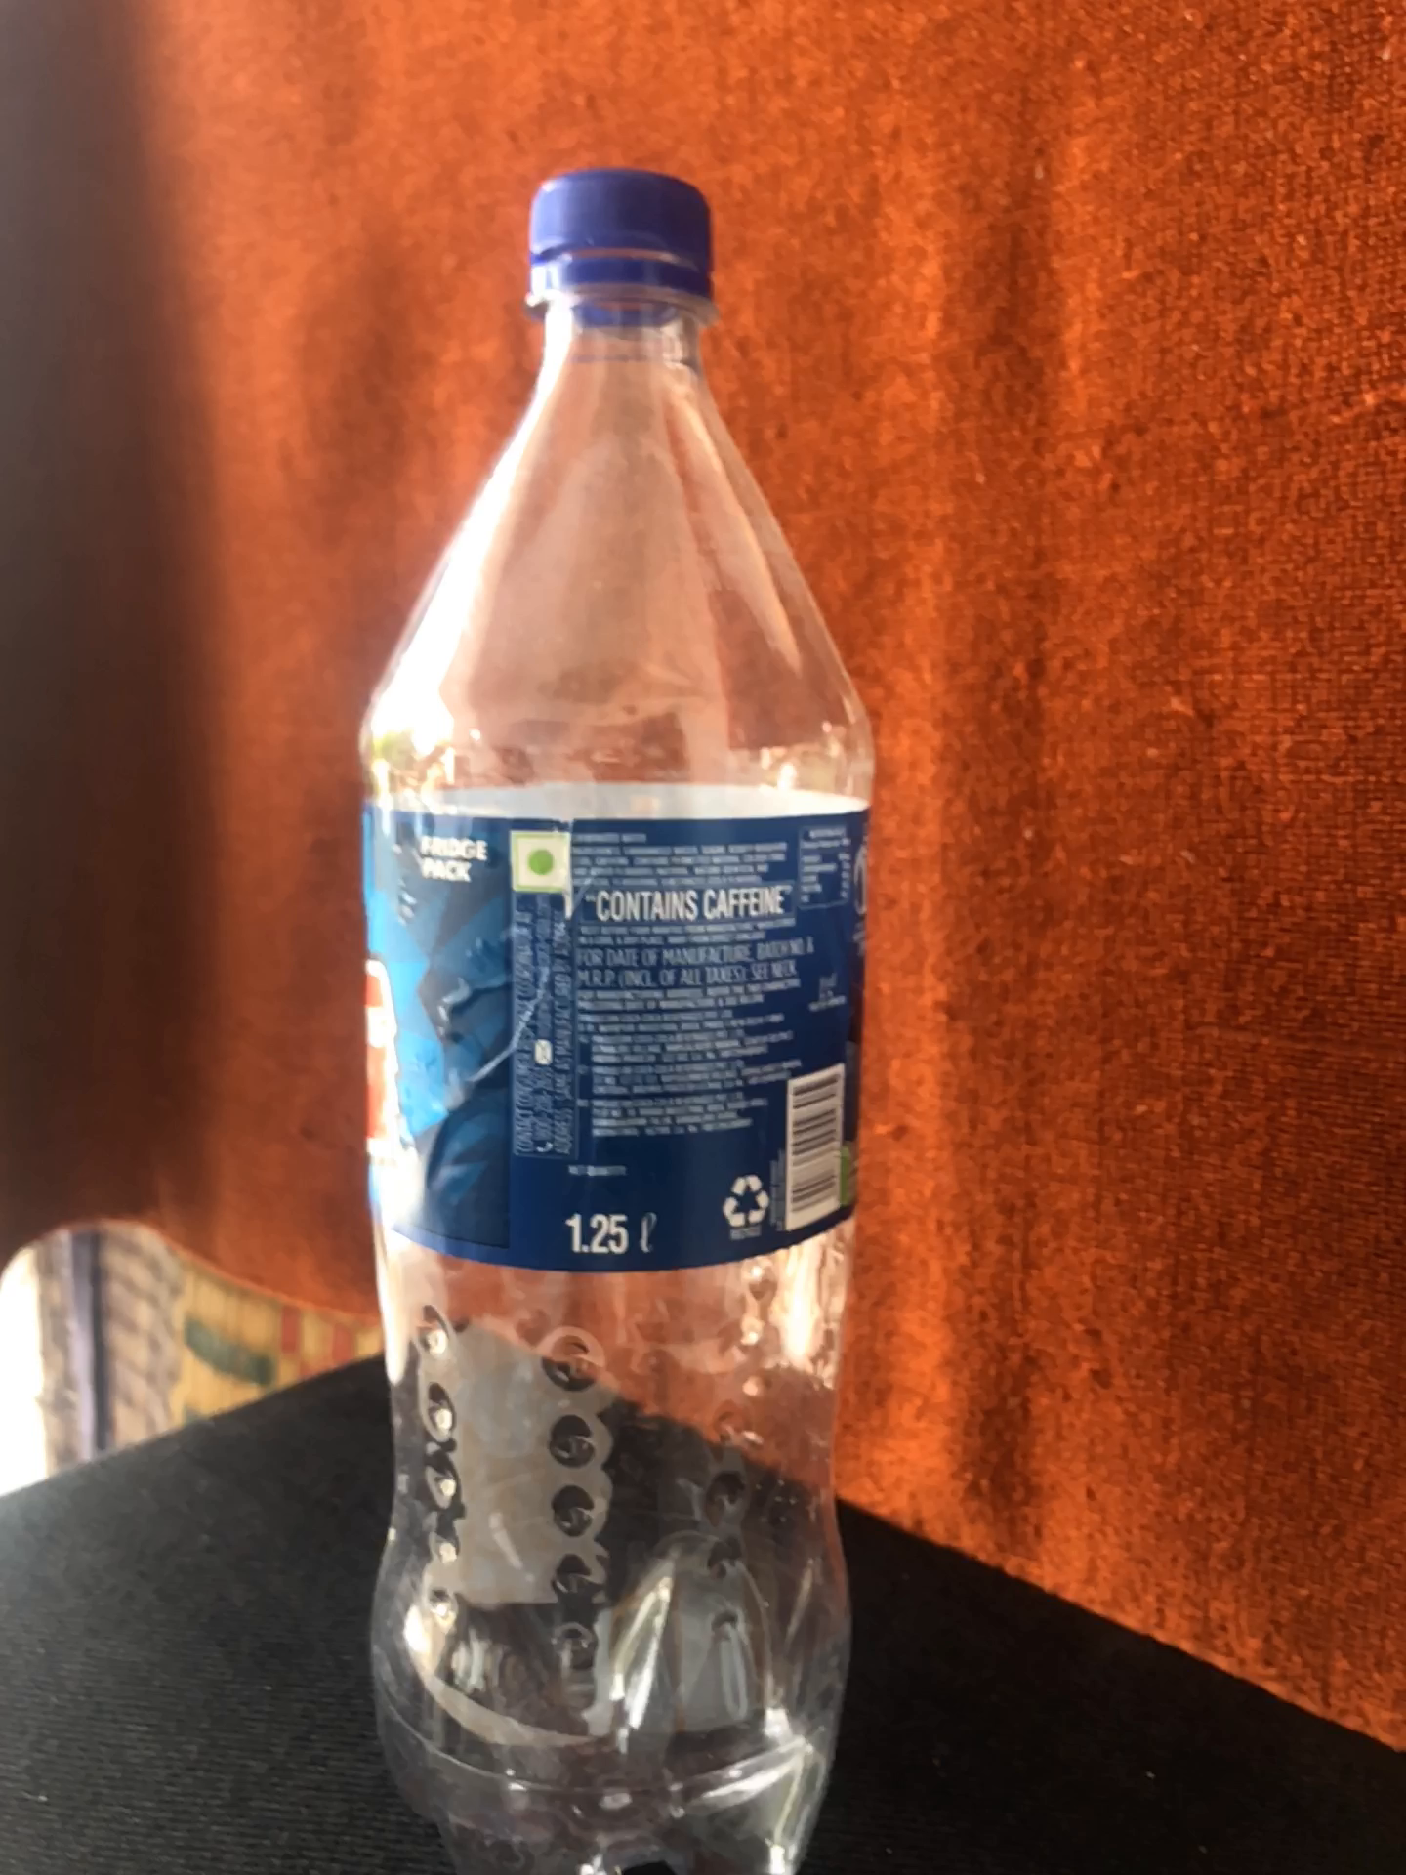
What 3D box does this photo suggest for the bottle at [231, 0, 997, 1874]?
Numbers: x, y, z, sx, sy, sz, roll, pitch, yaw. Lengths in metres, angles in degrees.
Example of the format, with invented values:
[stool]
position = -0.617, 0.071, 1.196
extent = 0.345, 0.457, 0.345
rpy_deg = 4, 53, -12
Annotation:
[bottle]
position = -0.012, 0.009, 0.262
extent = 0.090, 0.289, 0.100
rpy_deg = -1, 11, -4
